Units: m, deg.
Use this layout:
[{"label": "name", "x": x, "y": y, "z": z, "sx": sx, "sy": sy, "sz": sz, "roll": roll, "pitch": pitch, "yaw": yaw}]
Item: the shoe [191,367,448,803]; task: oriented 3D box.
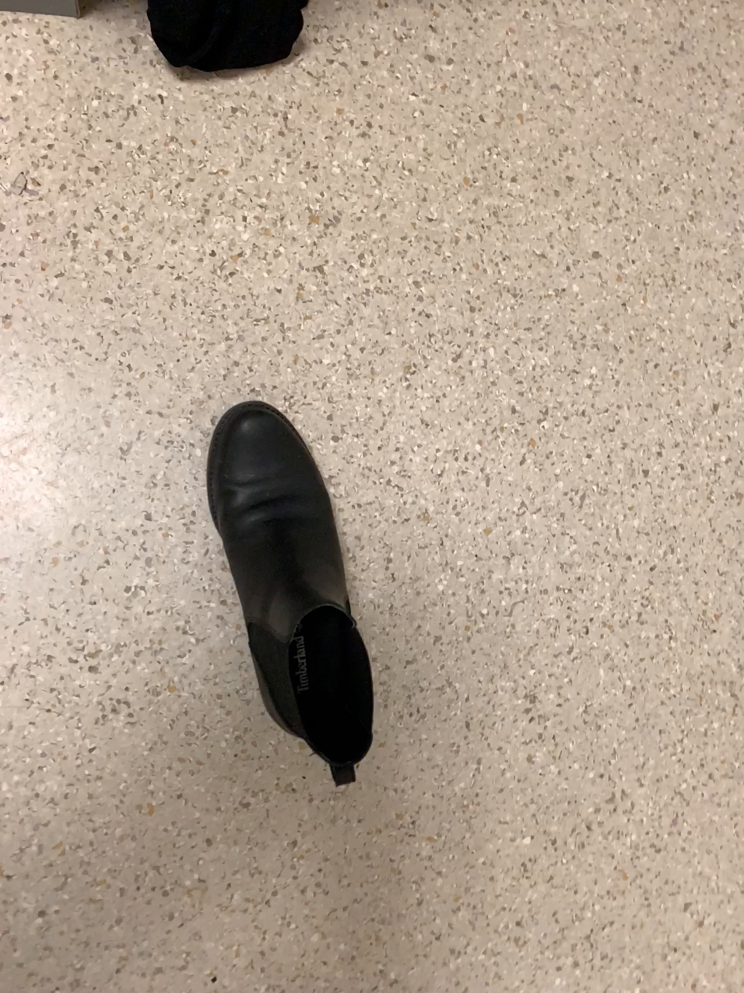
[{"label": "shoe", "x": -0.049, "y": 0.058, "z": 0.574, "sx": 0.108, "sy": 0.147, "sz": 0.270, "roll": -14, "pitch": 92, "yaw": -16}]
